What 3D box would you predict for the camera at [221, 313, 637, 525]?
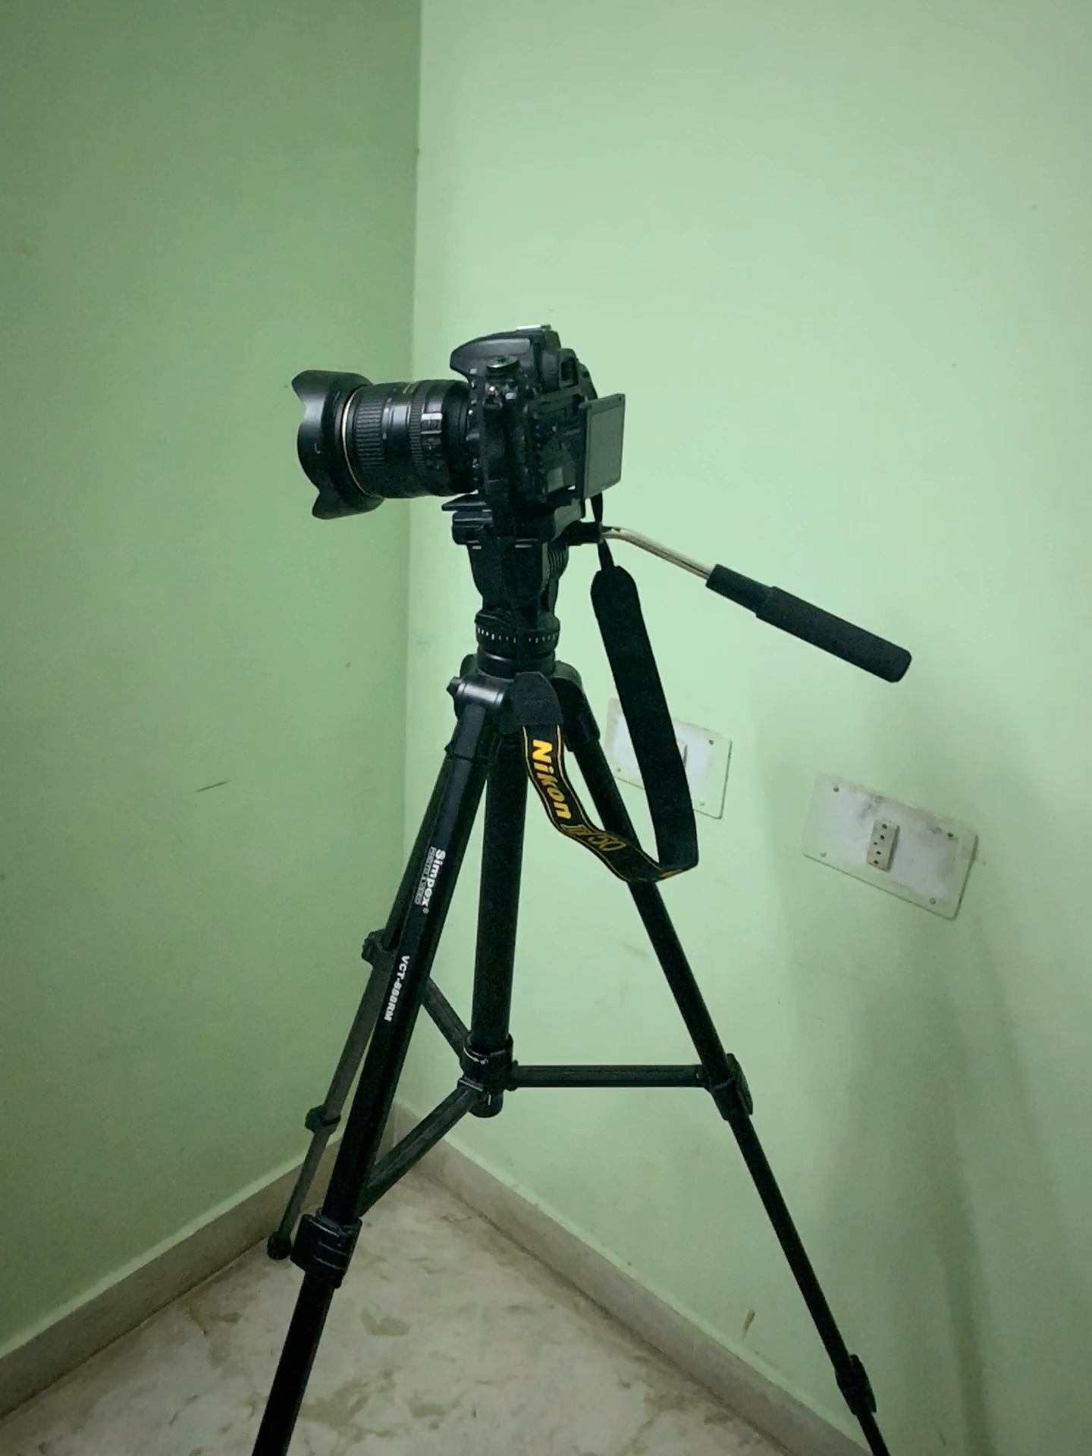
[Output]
[{"bbox_3d":[-0.076,-0.237,0.845,0.266,0.127,0.161,0,20,13],"label":"camera"}]
